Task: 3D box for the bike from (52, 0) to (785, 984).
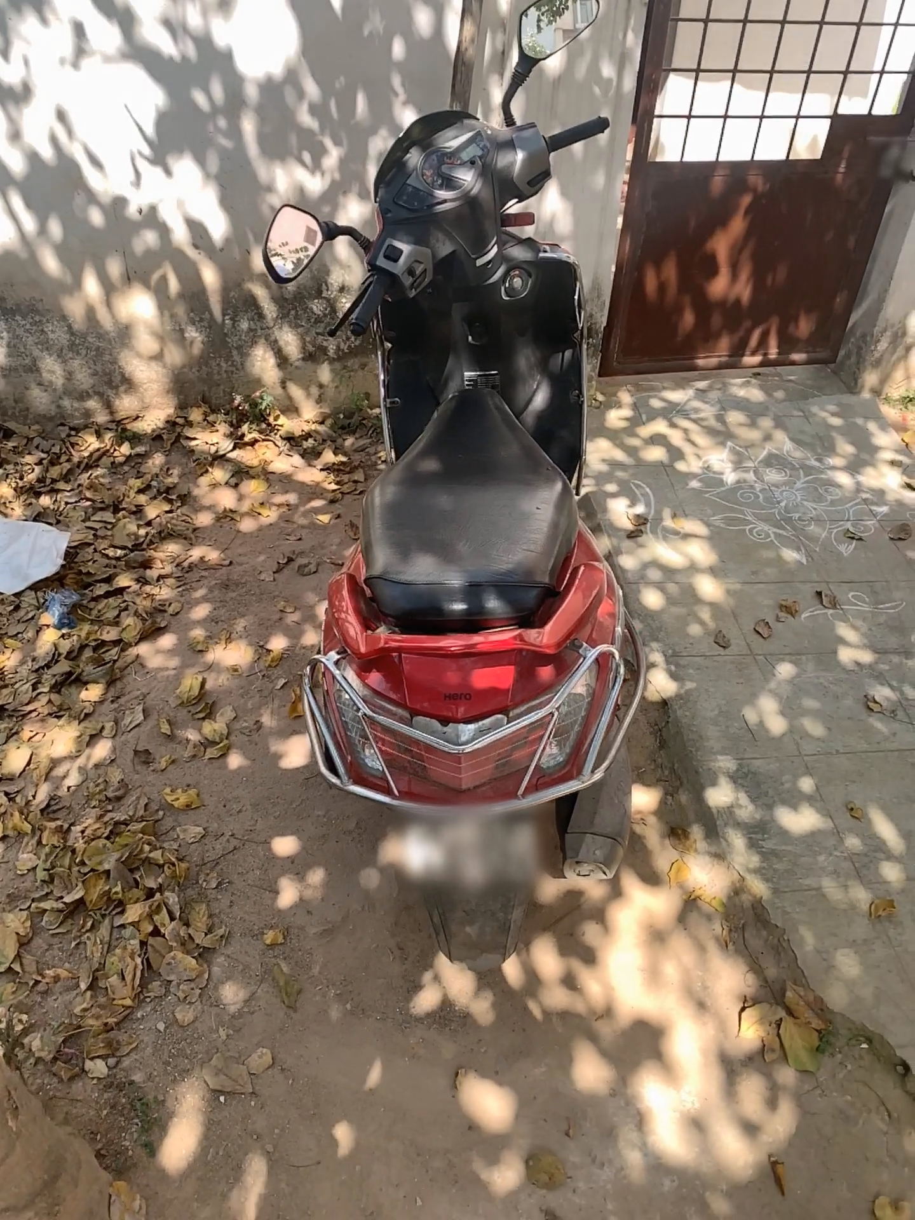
[{"bbox_3d":[-0.185,-0.419,1.898,0.735,1.155,1.768,-4,46,-7],"label":"bike"}]
